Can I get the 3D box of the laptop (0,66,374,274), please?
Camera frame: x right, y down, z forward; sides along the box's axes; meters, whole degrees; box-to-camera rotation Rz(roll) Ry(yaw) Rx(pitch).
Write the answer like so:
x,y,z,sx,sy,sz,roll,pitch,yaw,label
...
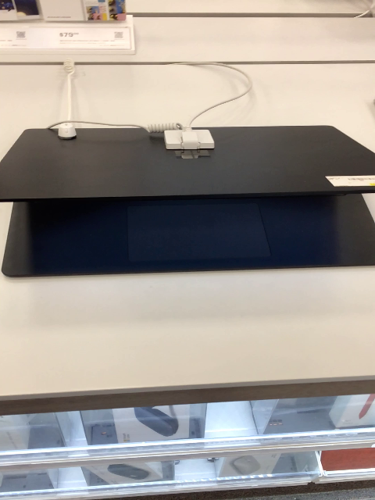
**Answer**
x,y,z,sx,sy,sz,roll,pitch,yaw,label
0.002,-0.082,0.455,0.336,0.086,0.197,-2,51,-4,laptop
